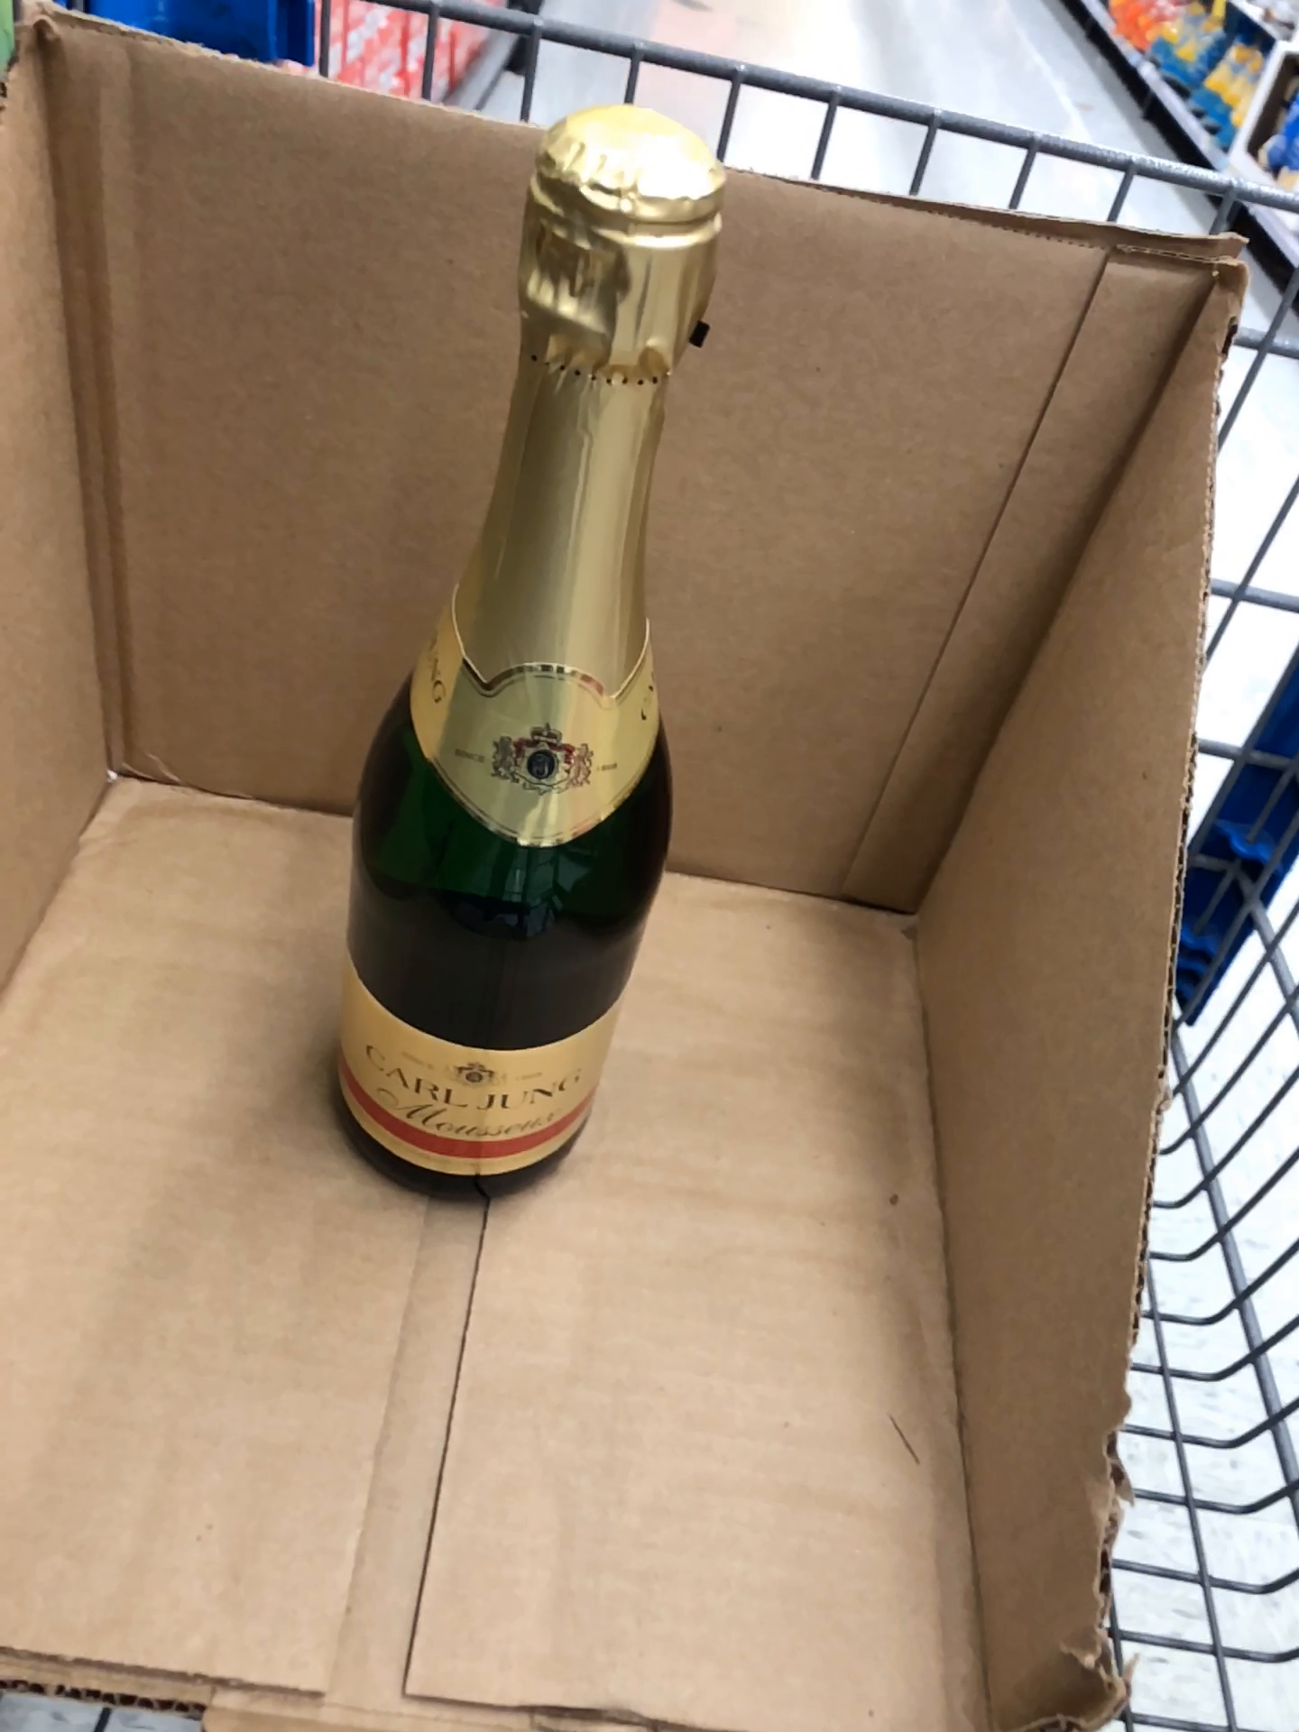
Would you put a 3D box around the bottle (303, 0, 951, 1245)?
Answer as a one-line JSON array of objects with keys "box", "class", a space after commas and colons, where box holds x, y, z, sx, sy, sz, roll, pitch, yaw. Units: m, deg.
[{"box": [-0.024, -0.031, 0.342, 0.090, 0.288, 0.081, 9, 41, -6], "class": "bottle"}]
